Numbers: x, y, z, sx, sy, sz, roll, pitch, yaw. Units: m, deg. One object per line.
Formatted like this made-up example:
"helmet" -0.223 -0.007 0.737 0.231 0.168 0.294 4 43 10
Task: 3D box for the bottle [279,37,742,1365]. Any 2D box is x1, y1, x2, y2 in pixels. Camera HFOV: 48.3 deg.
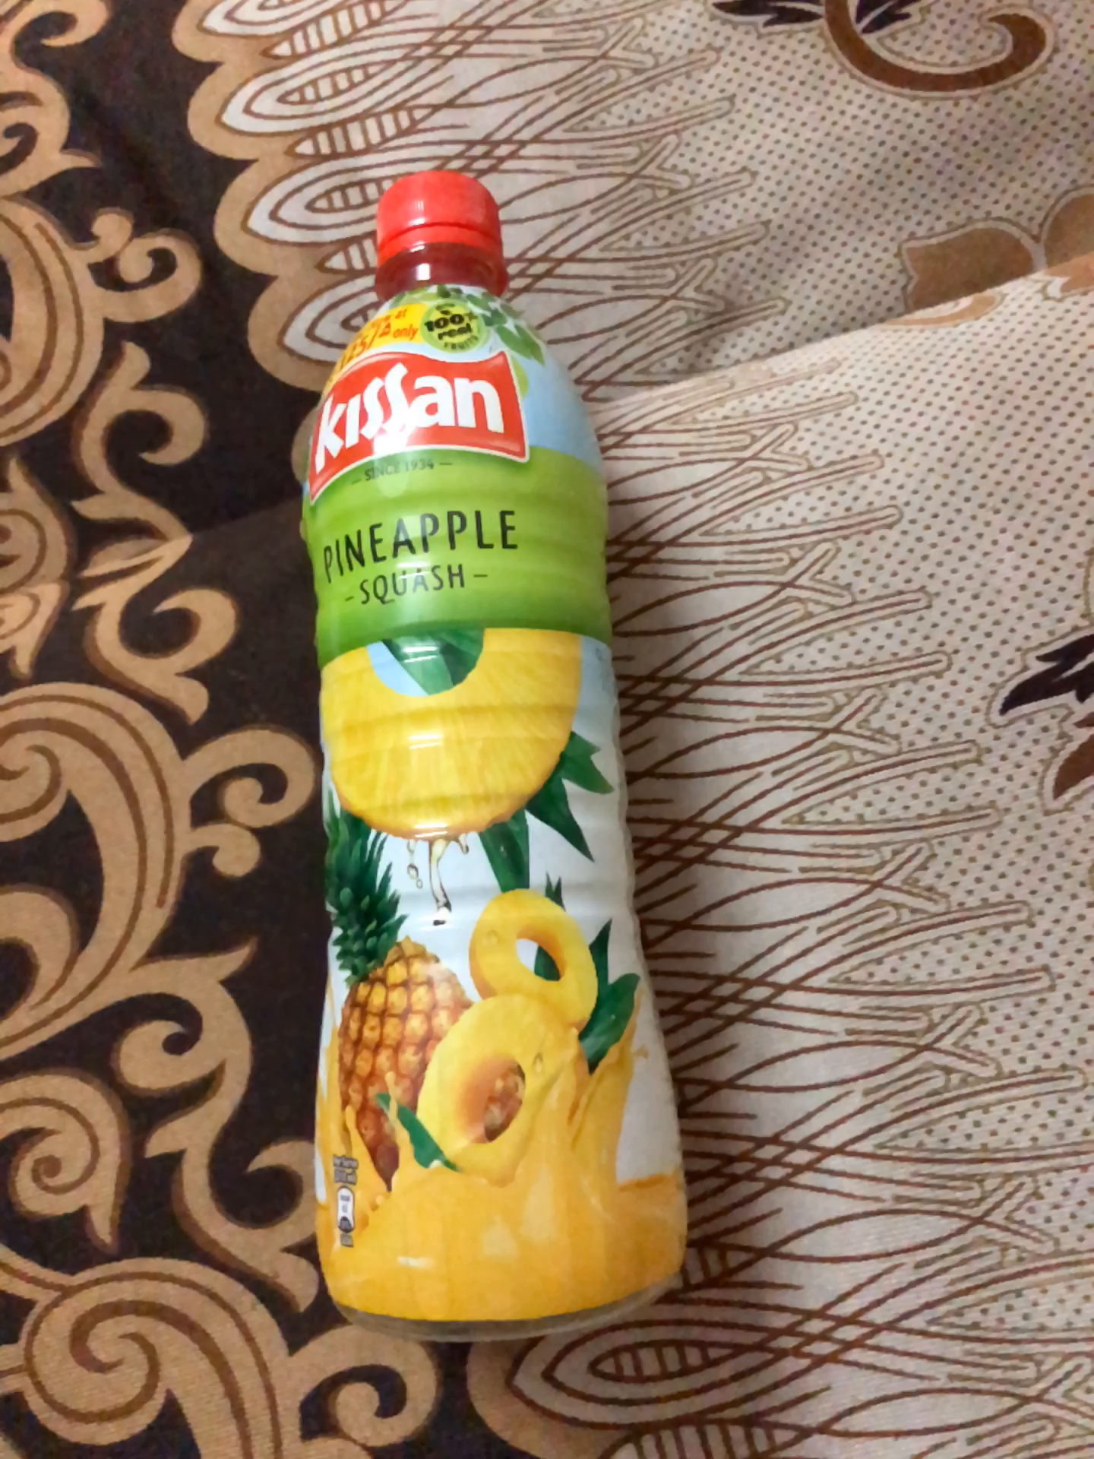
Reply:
"bottle" -0.007 -0.009 0.251 0.070 0.060 0.240 -6 79 9
